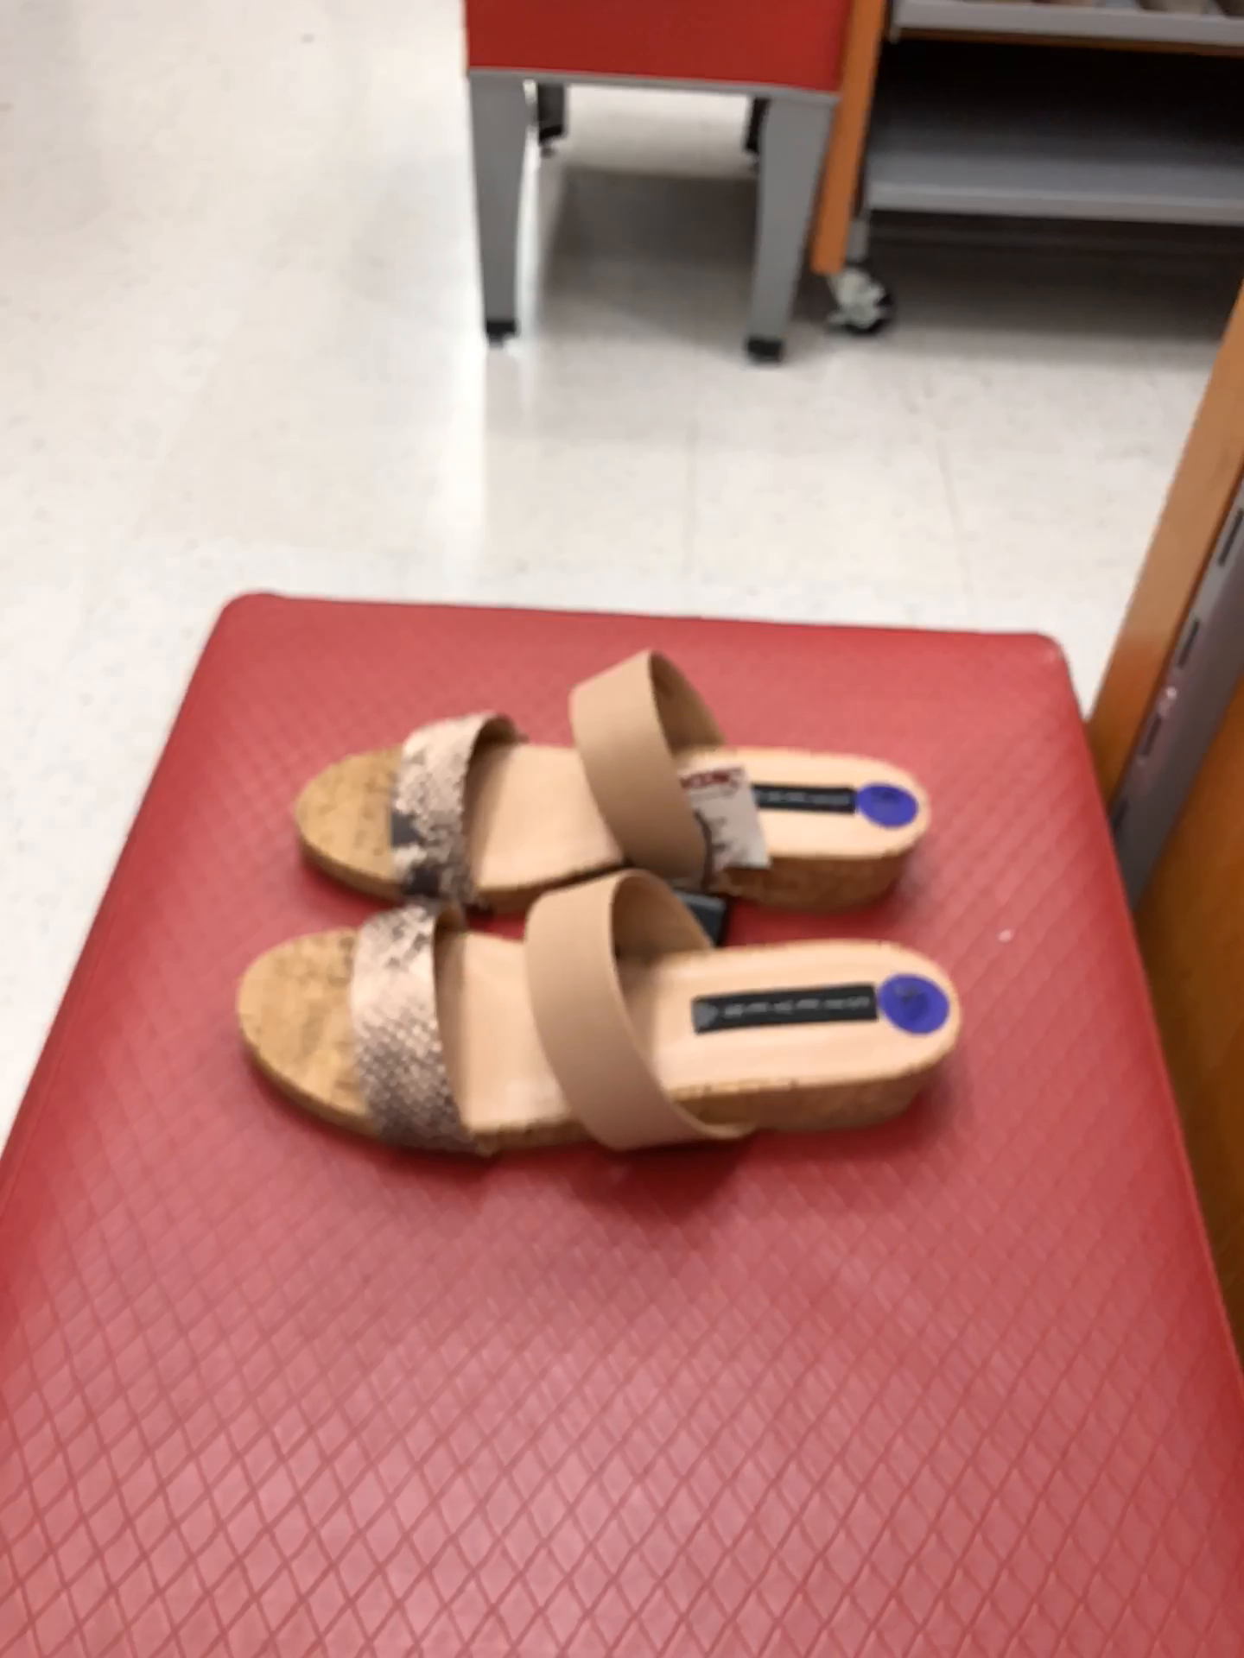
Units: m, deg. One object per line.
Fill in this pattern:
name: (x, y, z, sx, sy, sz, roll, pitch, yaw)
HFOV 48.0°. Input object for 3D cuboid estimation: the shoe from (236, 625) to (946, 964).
shoe: (-0.011, -0.014, 0.569, 0.257, 0.085, 0.095, 2, 46, 0)

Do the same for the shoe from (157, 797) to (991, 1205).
shoe: (-0.014, 0.060, 0.494, 0.257, 0.085, 0.097, 3, 46, 1)
